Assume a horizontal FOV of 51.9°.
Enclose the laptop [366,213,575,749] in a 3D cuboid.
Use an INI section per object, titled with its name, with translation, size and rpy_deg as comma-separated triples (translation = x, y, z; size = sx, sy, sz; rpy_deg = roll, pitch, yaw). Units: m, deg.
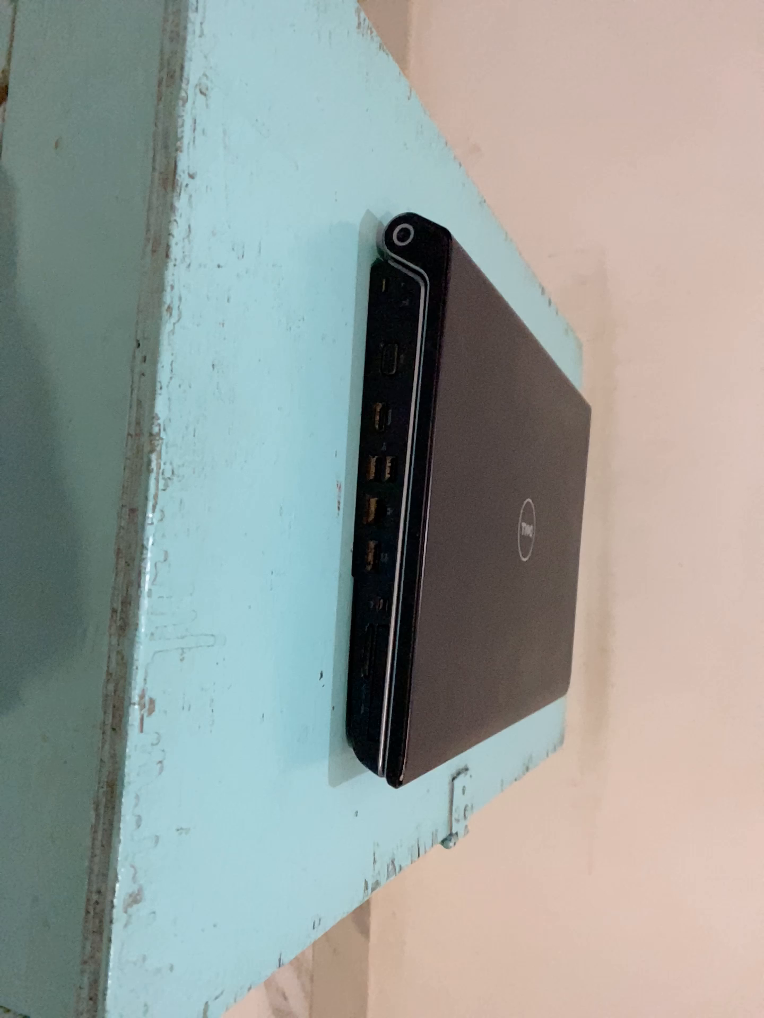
[laptop]
translation = 0.088, 0.006, 0.565
size = 0.386, 0.004, 0.269
rpy_deg = 14, 81, -64
